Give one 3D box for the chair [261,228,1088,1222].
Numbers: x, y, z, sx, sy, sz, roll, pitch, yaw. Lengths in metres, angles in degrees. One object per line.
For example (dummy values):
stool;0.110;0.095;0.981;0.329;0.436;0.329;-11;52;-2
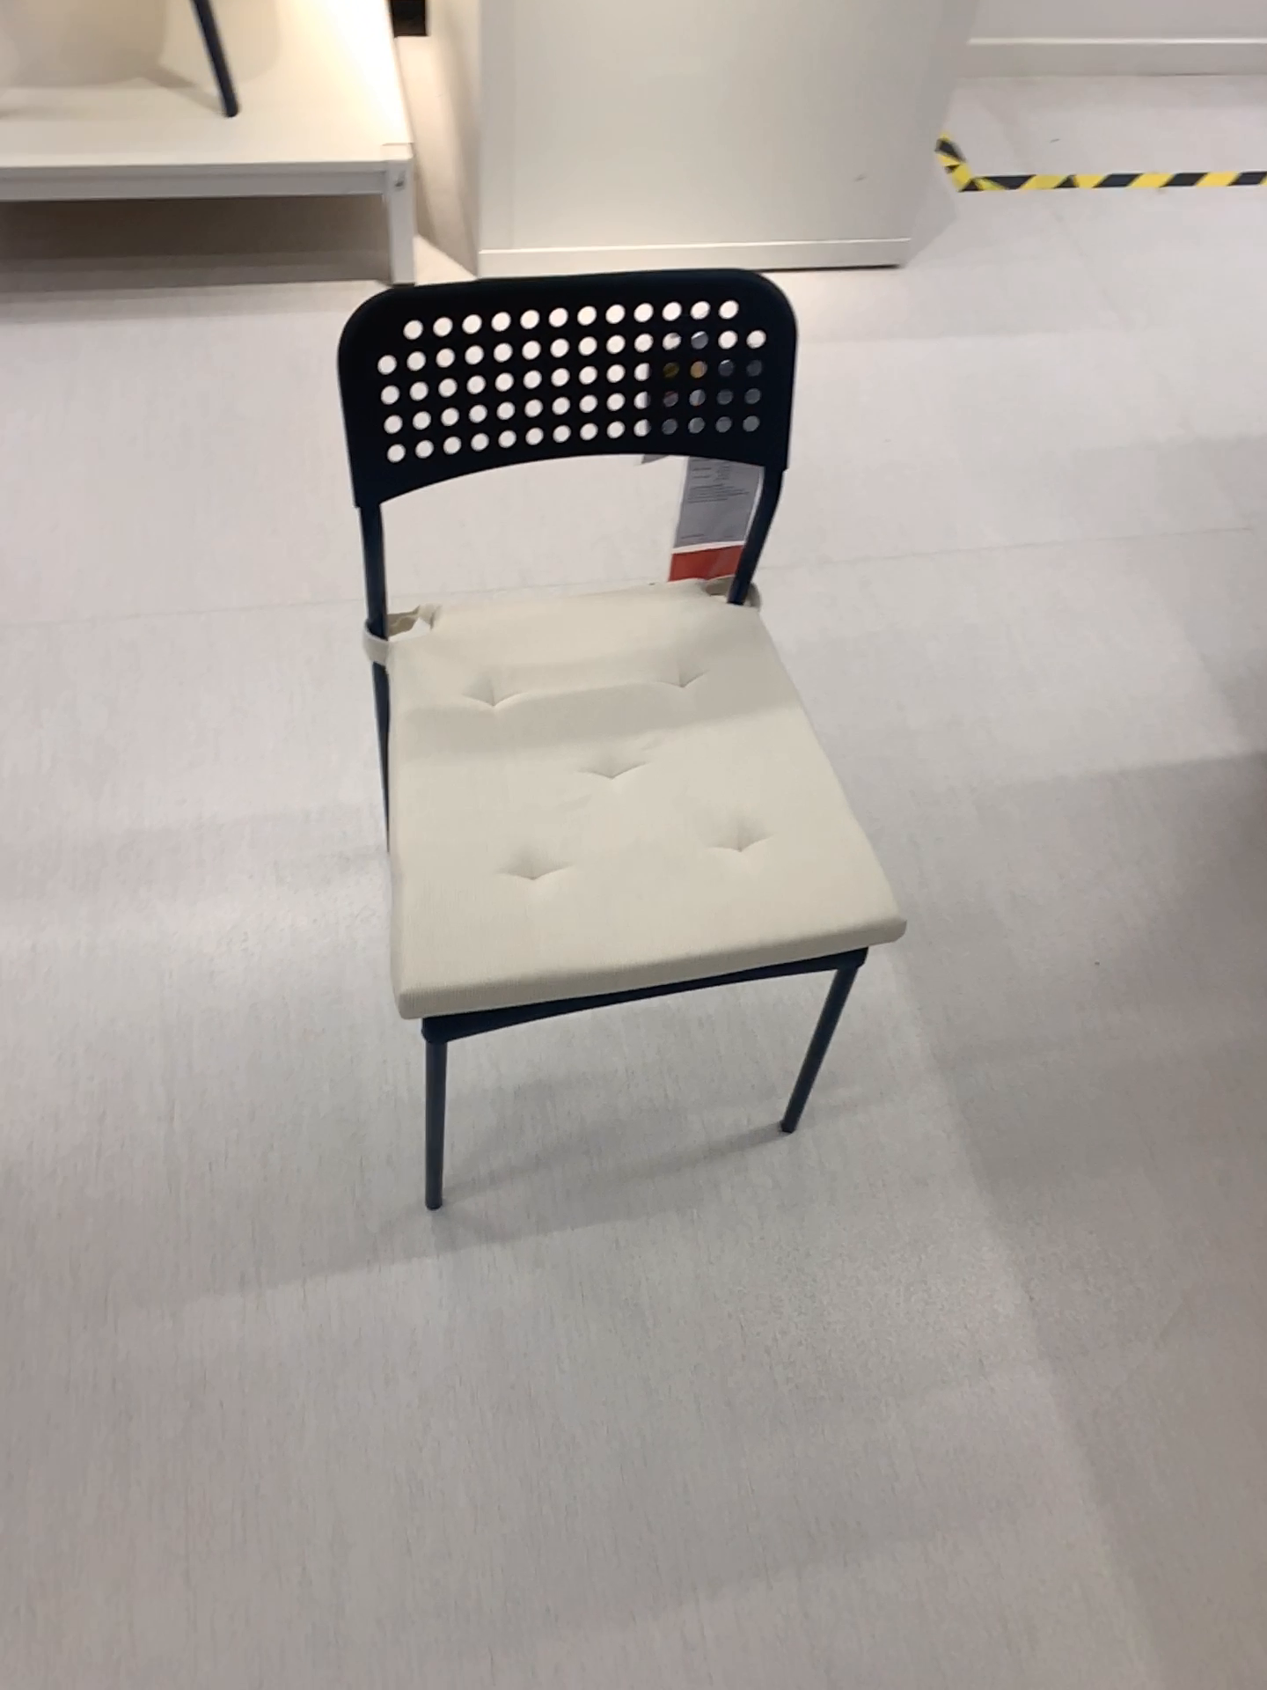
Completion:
chair;-0.035;-0.053;1.172;0.450;0.758;0.491;-8;58;-11
